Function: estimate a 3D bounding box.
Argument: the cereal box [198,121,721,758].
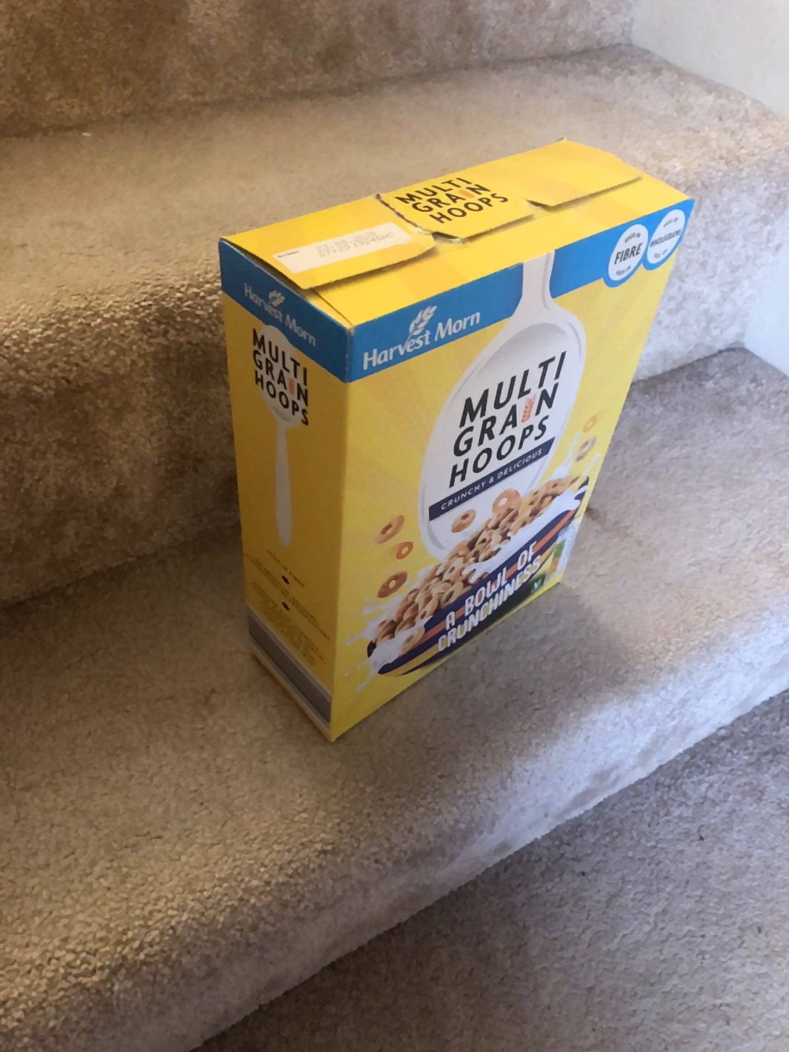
[{"bbox_3d":[0.024,-0.037,0.432,0.201,0.248,0.090,-30,56,-30],"label":"cereal box"}]
